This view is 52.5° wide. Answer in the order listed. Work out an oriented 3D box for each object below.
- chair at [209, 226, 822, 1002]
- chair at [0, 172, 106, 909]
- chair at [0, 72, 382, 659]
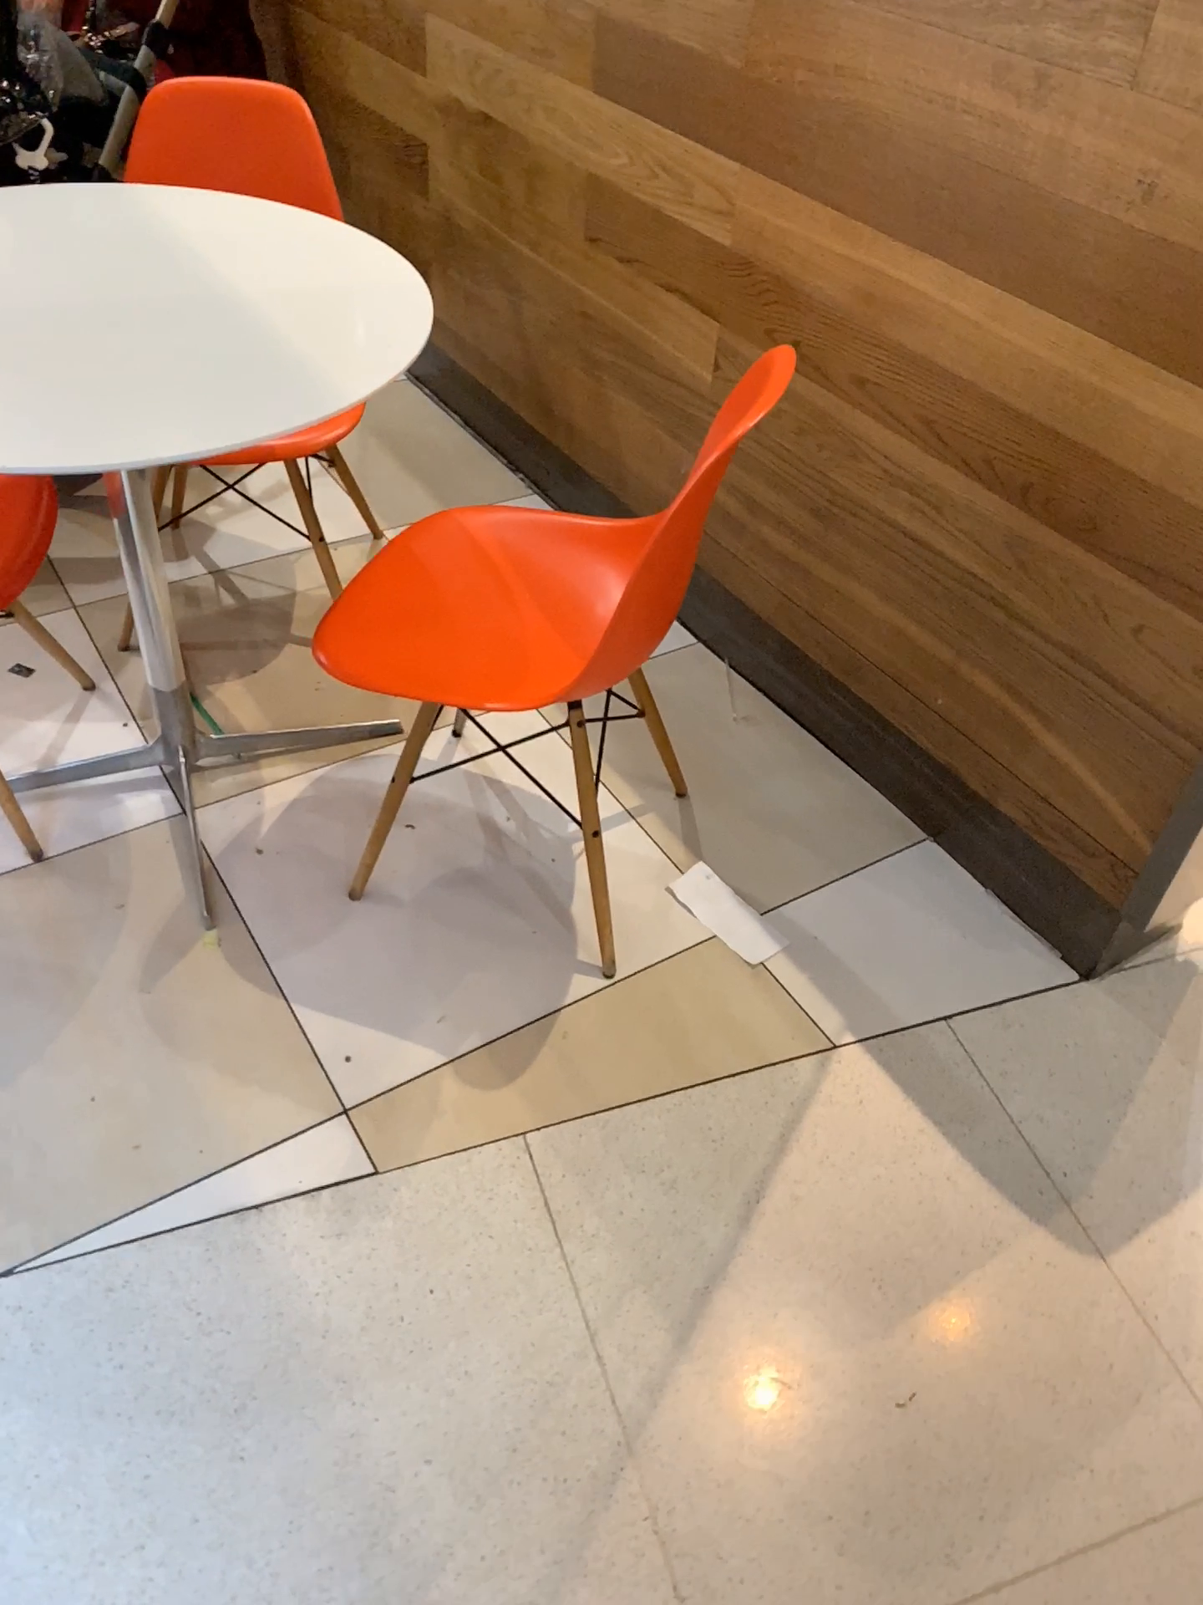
[{"bbox_3d":[-0.088,-0.223,1.536,0.521,0.742,0.451,15,44,10],"label":"chair"},{"bbox_3d":[-1.003,-0.305,1.543,0.510,0.762,0.451,-3,43,-9],"label":"chair"},{"bbox_3d":[-0.616,-0.693,1.992,0.447,0.742,0.525,-1,43,-7],"label":"chair"}]
